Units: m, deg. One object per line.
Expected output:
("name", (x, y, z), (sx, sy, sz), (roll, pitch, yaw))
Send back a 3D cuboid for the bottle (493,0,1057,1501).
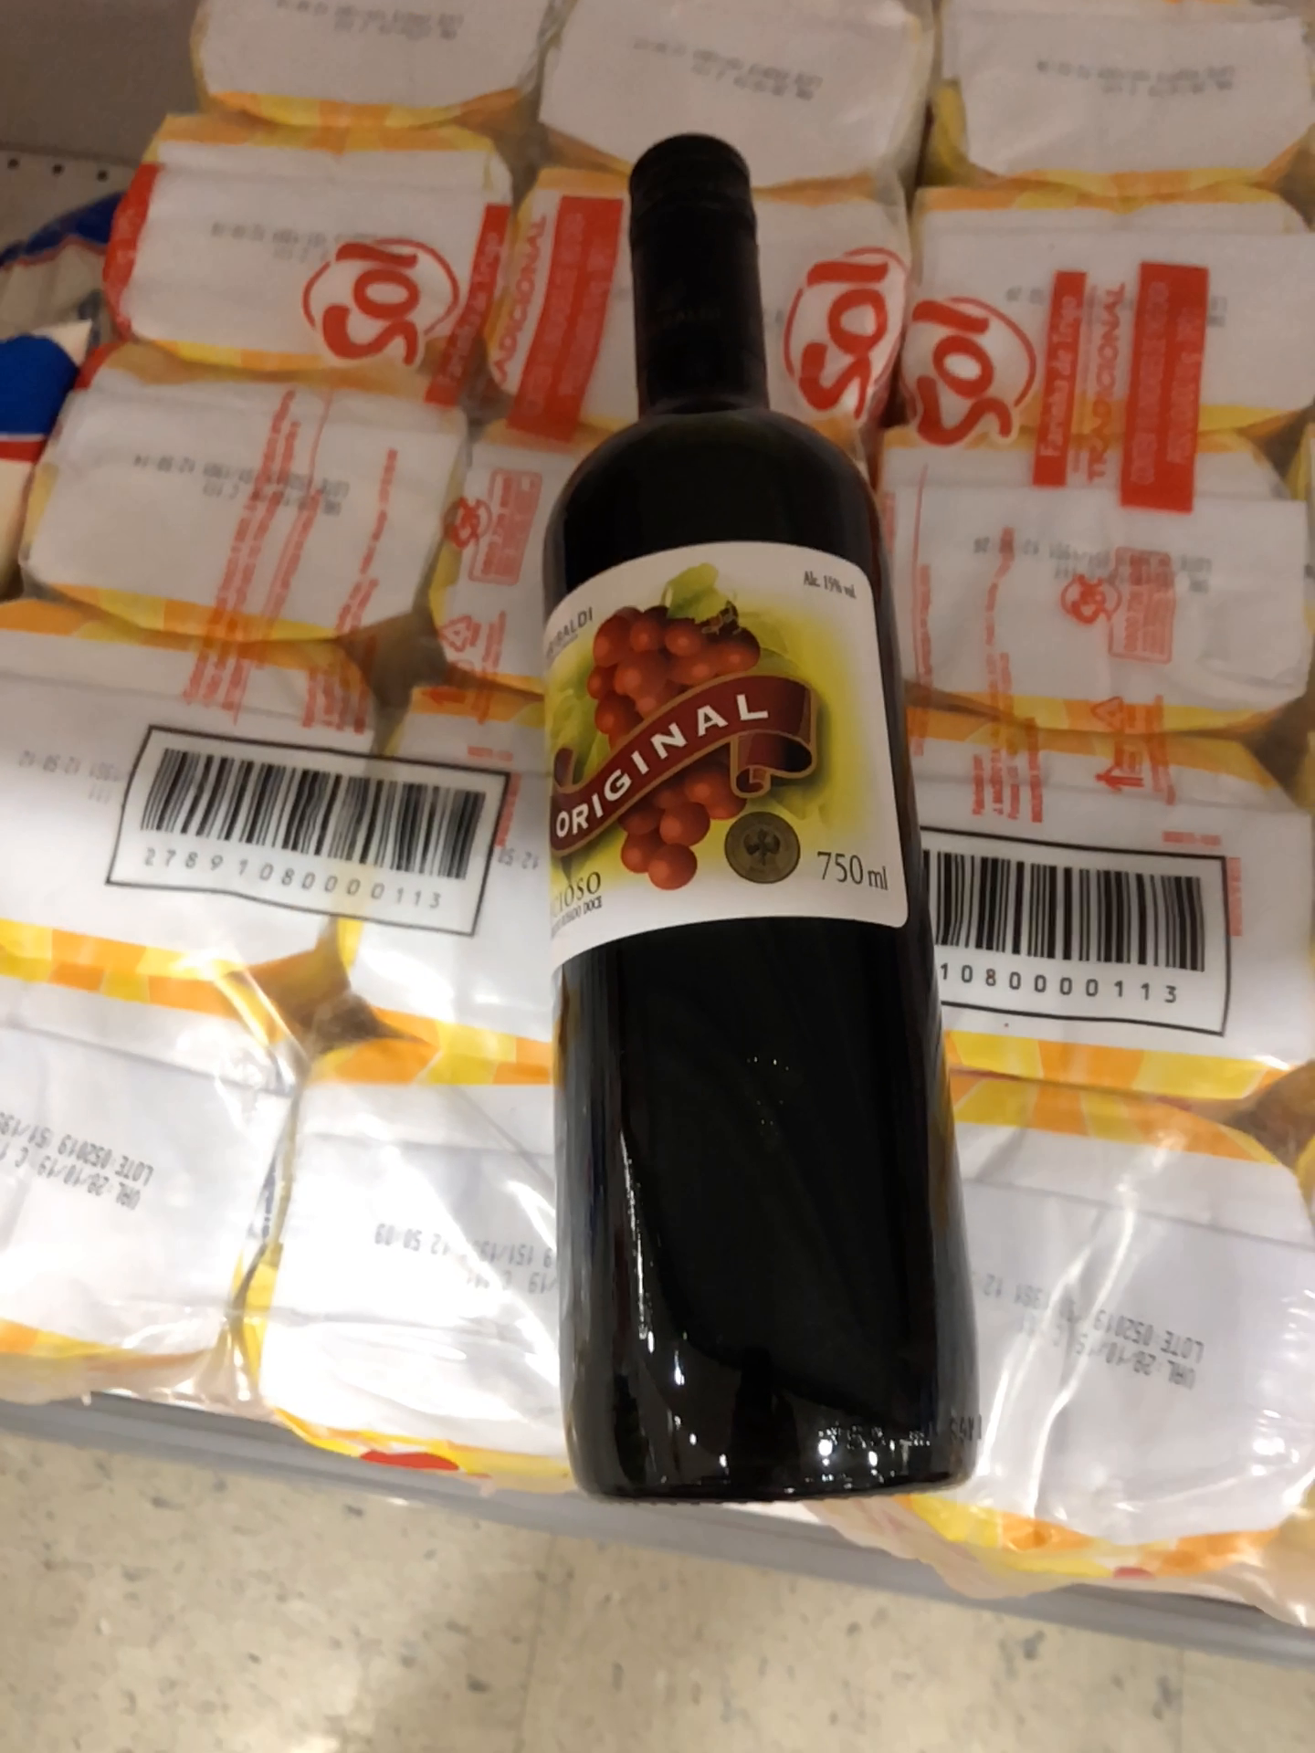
("bottle", (0.018, -0.041, 0.320), (0.080, 0.070, 0.321), (-12, 67, 24))
